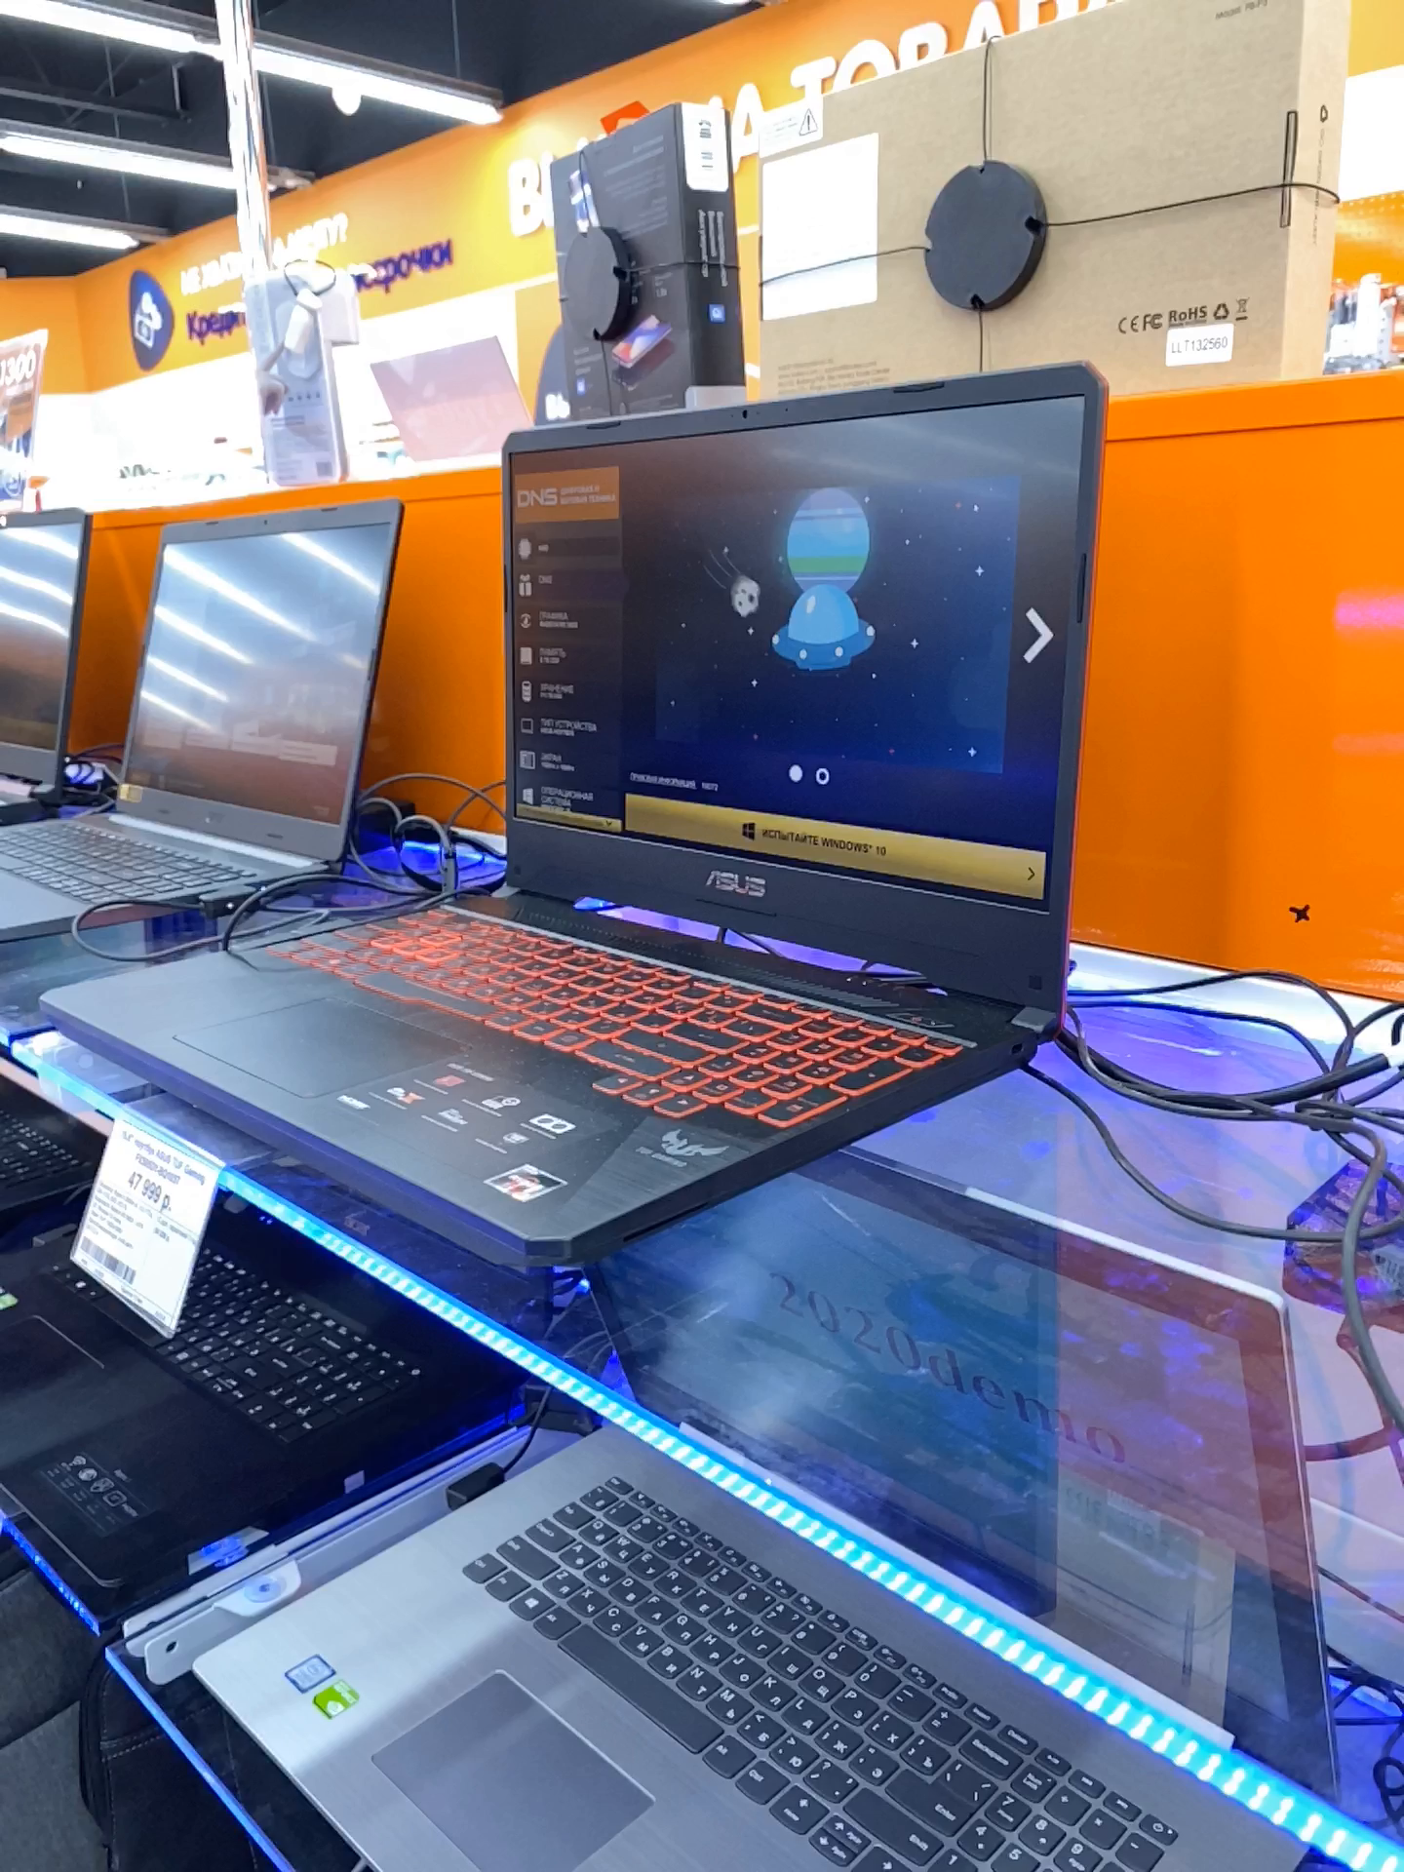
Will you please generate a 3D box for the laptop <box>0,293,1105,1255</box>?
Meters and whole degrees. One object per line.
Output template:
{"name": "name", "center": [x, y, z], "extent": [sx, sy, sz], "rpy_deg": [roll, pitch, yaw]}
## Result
{"name": "laptop", "center": [-0.071, -0.091, 0.594], "extent": [0.360, 0.248, 0.286], "rpy_deg": [12, 20, 43]}
